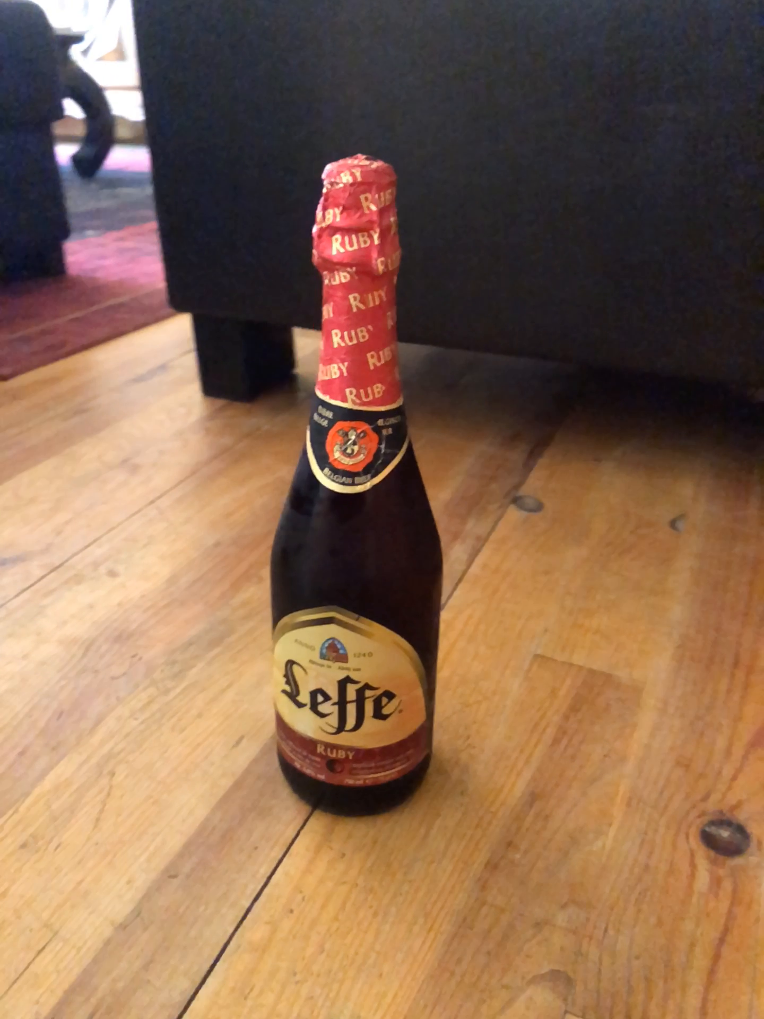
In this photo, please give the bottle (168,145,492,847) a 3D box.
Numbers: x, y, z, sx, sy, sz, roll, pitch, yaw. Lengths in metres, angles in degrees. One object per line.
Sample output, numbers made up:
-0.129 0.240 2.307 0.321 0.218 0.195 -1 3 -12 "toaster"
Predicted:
-0.015 0.001 0.373 0.090 0.288 0.091 0 28 0 "bottle"
